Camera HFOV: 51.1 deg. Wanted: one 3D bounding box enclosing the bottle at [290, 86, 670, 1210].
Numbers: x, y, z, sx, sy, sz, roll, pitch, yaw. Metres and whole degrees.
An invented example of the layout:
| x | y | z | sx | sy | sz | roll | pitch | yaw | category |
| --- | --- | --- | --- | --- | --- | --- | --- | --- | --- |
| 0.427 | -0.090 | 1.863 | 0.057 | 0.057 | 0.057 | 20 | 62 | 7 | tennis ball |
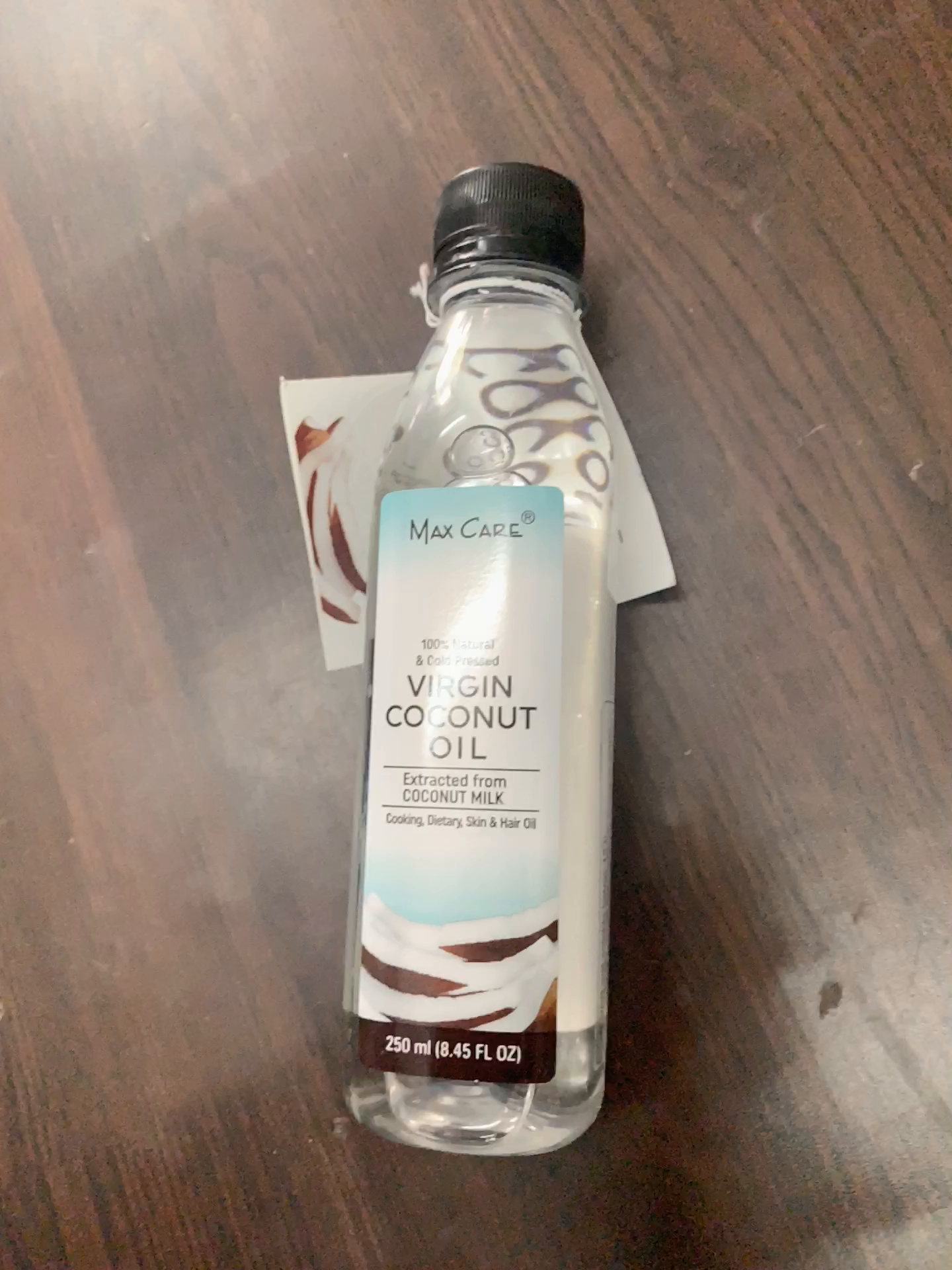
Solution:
| x | y | z | sx | sy | sz | roll | pitch | yaw | category |
| --- | --- | --- | --- | --- | --- | --- | --- | --- | --- |
| 0.007 | -0.002 | 0.178 | 0.050 | 0.050 | 0.170 | 2 | 81 | 11 | bottle |
